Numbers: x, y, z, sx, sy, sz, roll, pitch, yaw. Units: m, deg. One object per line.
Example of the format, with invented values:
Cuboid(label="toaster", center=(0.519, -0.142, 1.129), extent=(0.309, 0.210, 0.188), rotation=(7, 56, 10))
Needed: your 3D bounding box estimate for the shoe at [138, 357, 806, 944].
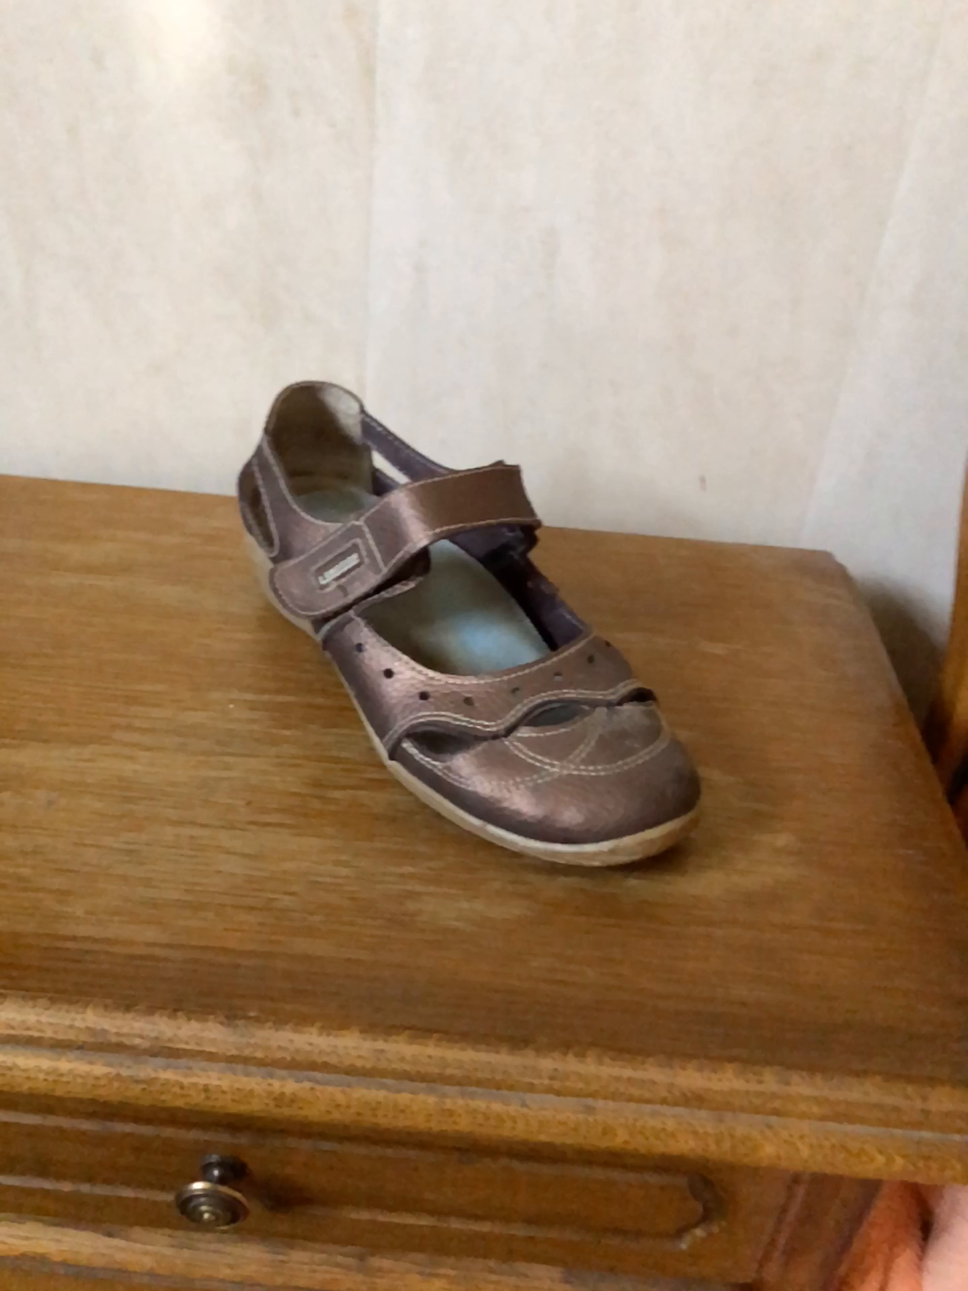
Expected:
Cuboid(label="shoe", center=(-0.024, -0.021, 0.412), extent=(0.101, 0.089, 0.260), rotation=(-21, 41, -36))
